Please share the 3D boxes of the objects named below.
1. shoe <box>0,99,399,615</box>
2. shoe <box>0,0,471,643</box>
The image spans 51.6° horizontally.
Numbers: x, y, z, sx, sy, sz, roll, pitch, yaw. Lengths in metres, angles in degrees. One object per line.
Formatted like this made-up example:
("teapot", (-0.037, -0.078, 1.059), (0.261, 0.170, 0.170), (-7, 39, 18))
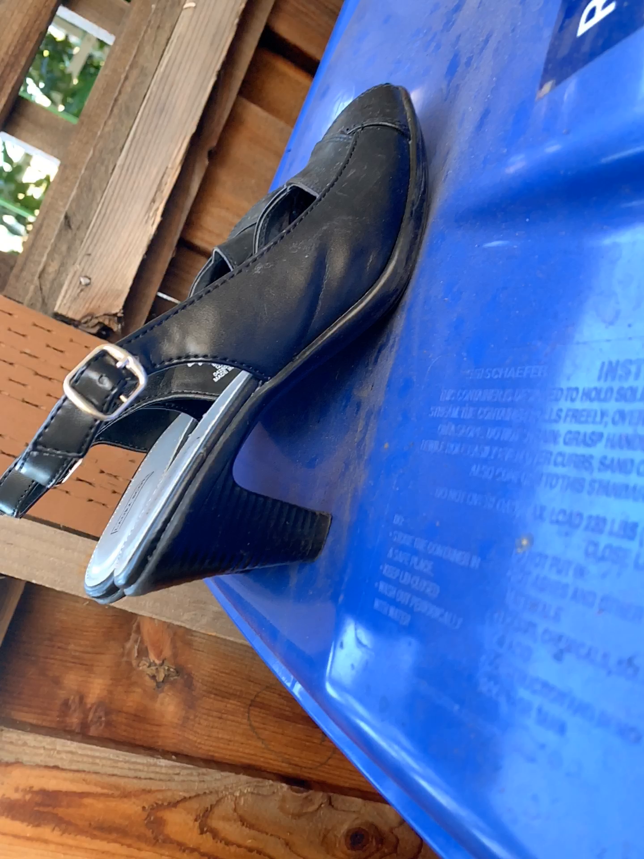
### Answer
("shoe", (-0.050, -0.042, 0.349), (0.090, 0.089, 0.251), (-20, 42, 47))
("shoe", (-0.032, -0.060, 0.266), (0.090, 0.099, 0.251), (-22, 49, 62))
